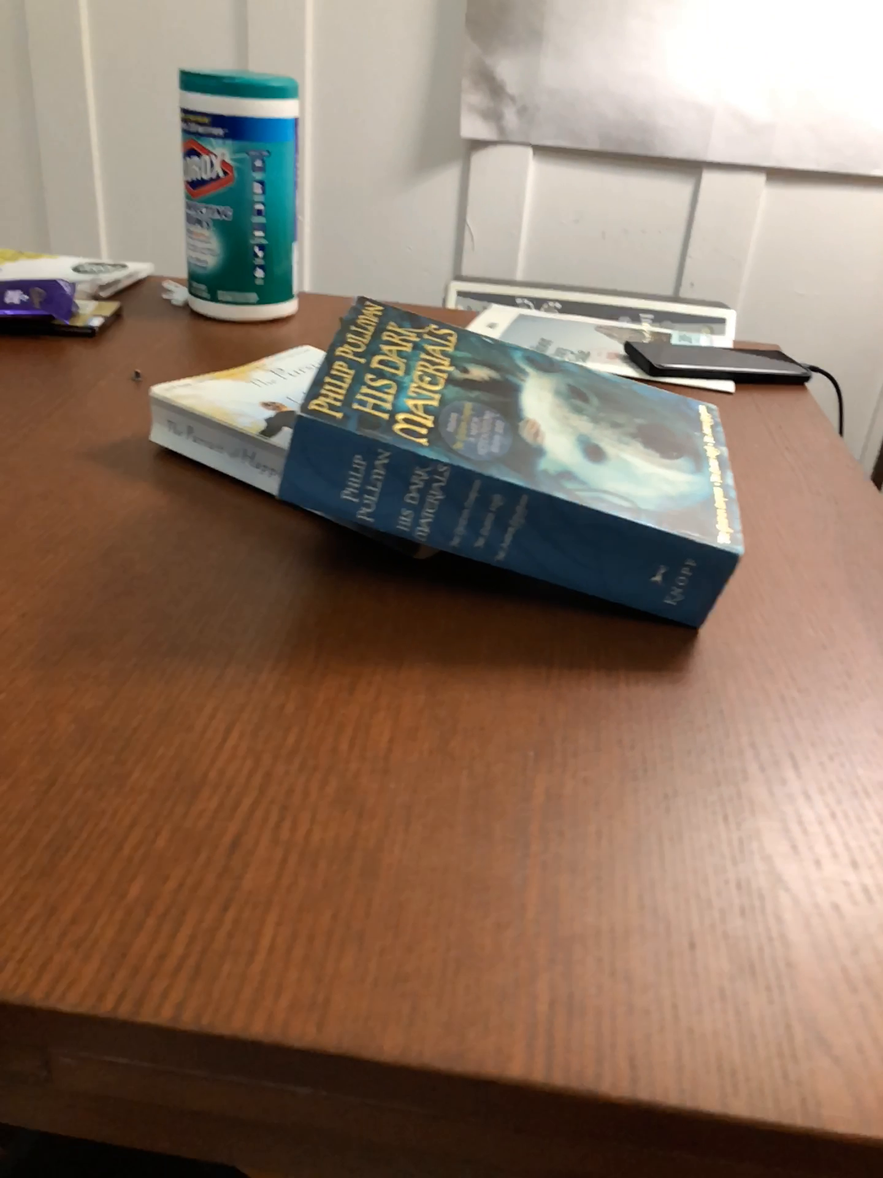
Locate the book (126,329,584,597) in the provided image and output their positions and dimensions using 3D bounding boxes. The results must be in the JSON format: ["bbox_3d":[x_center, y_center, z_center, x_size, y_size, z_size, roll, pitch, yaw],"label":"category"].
[{"bbox_3d":[-0.057,-0.096,0.628,0.240,0.040,0.171,28,42,30],"label":"book"}]

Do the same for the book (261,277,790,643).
[{"bbox_3d":[0.044,-0.078,0.522,0.240,0.060,0.171,17,33,-6],"label":"book"}]
